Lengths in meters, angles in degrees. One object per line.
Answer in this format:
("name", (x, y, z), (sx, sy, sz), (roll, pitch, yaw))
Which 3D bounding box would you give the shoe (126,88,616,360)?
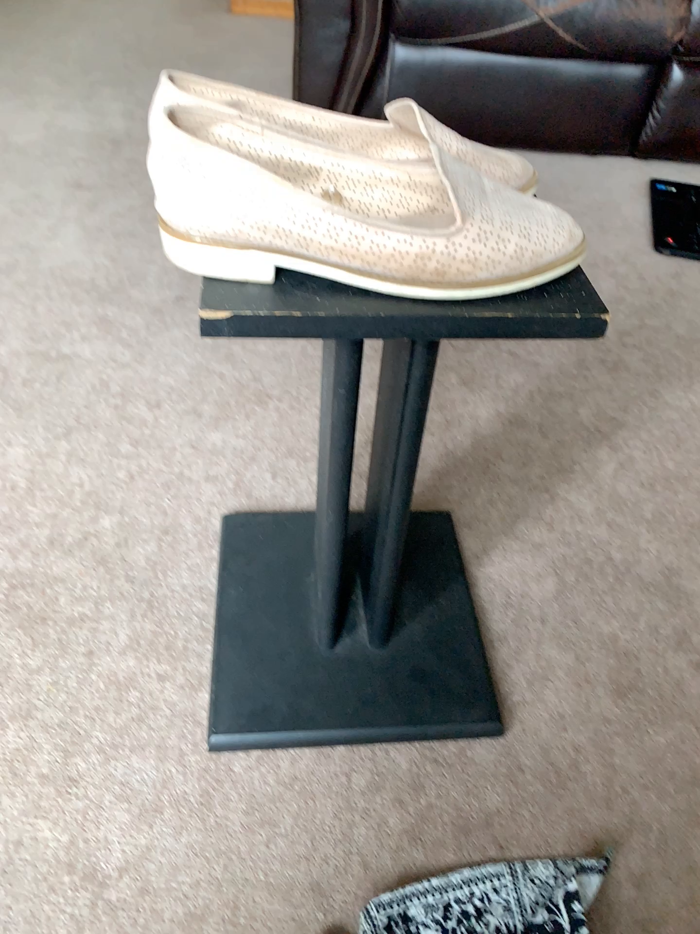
("shoe", (0.008, -0.136, 0.412), (0.250, 0.079, 0.081), (7, 44, -9))

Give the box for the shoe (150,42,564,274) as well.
("shoe", (0.000, -0.197, 0.473), (0.250, 0.079, 0.081), (2, 44, -18))
